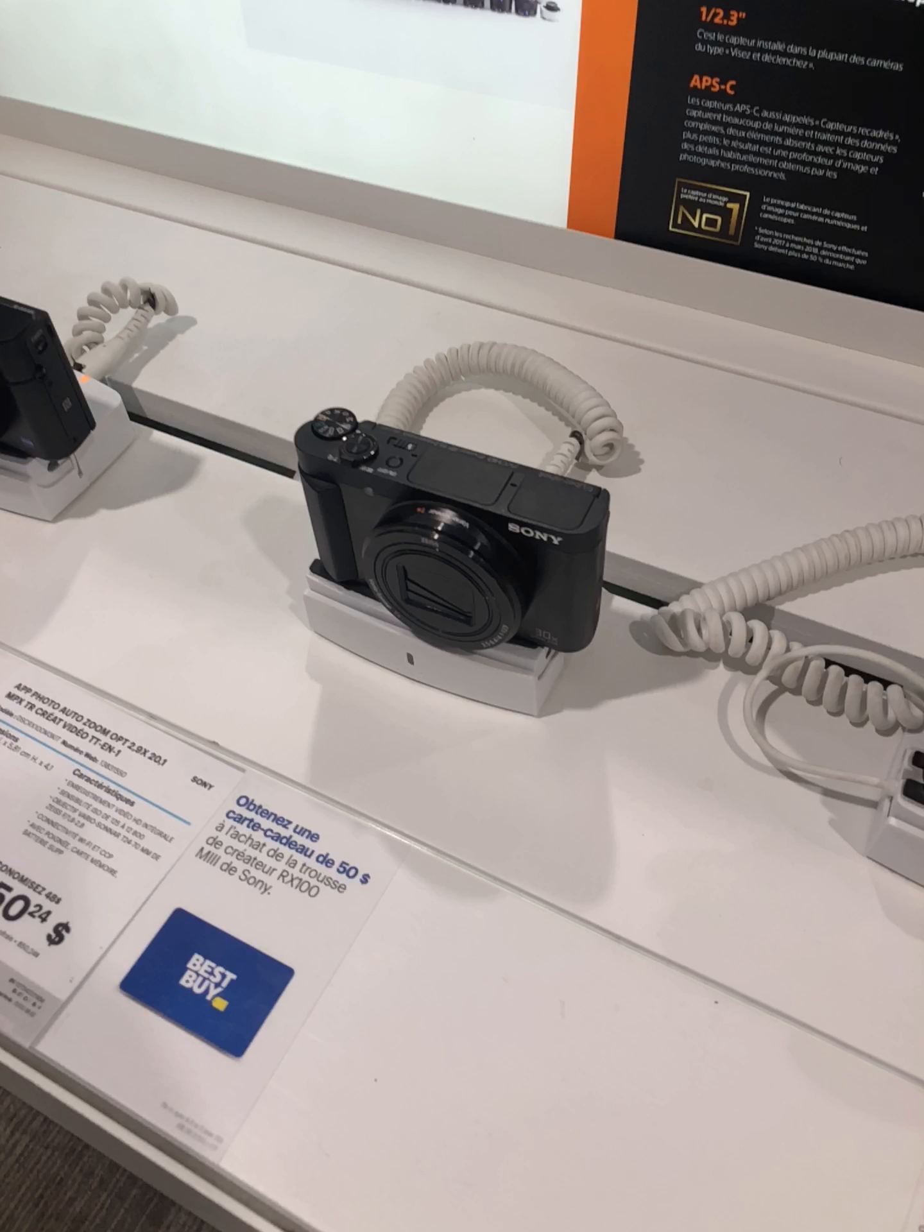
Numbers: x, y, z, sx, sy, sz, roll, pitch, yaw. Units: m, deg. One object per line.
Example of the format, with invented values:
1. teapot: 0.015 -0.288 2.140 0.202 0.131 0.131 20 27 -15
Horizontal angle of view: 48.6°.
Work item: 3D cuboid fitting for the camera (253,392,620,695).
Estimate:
1. camera: -0.008 -0.024 0.337 0.110 0.069 0.030 18 51 18
